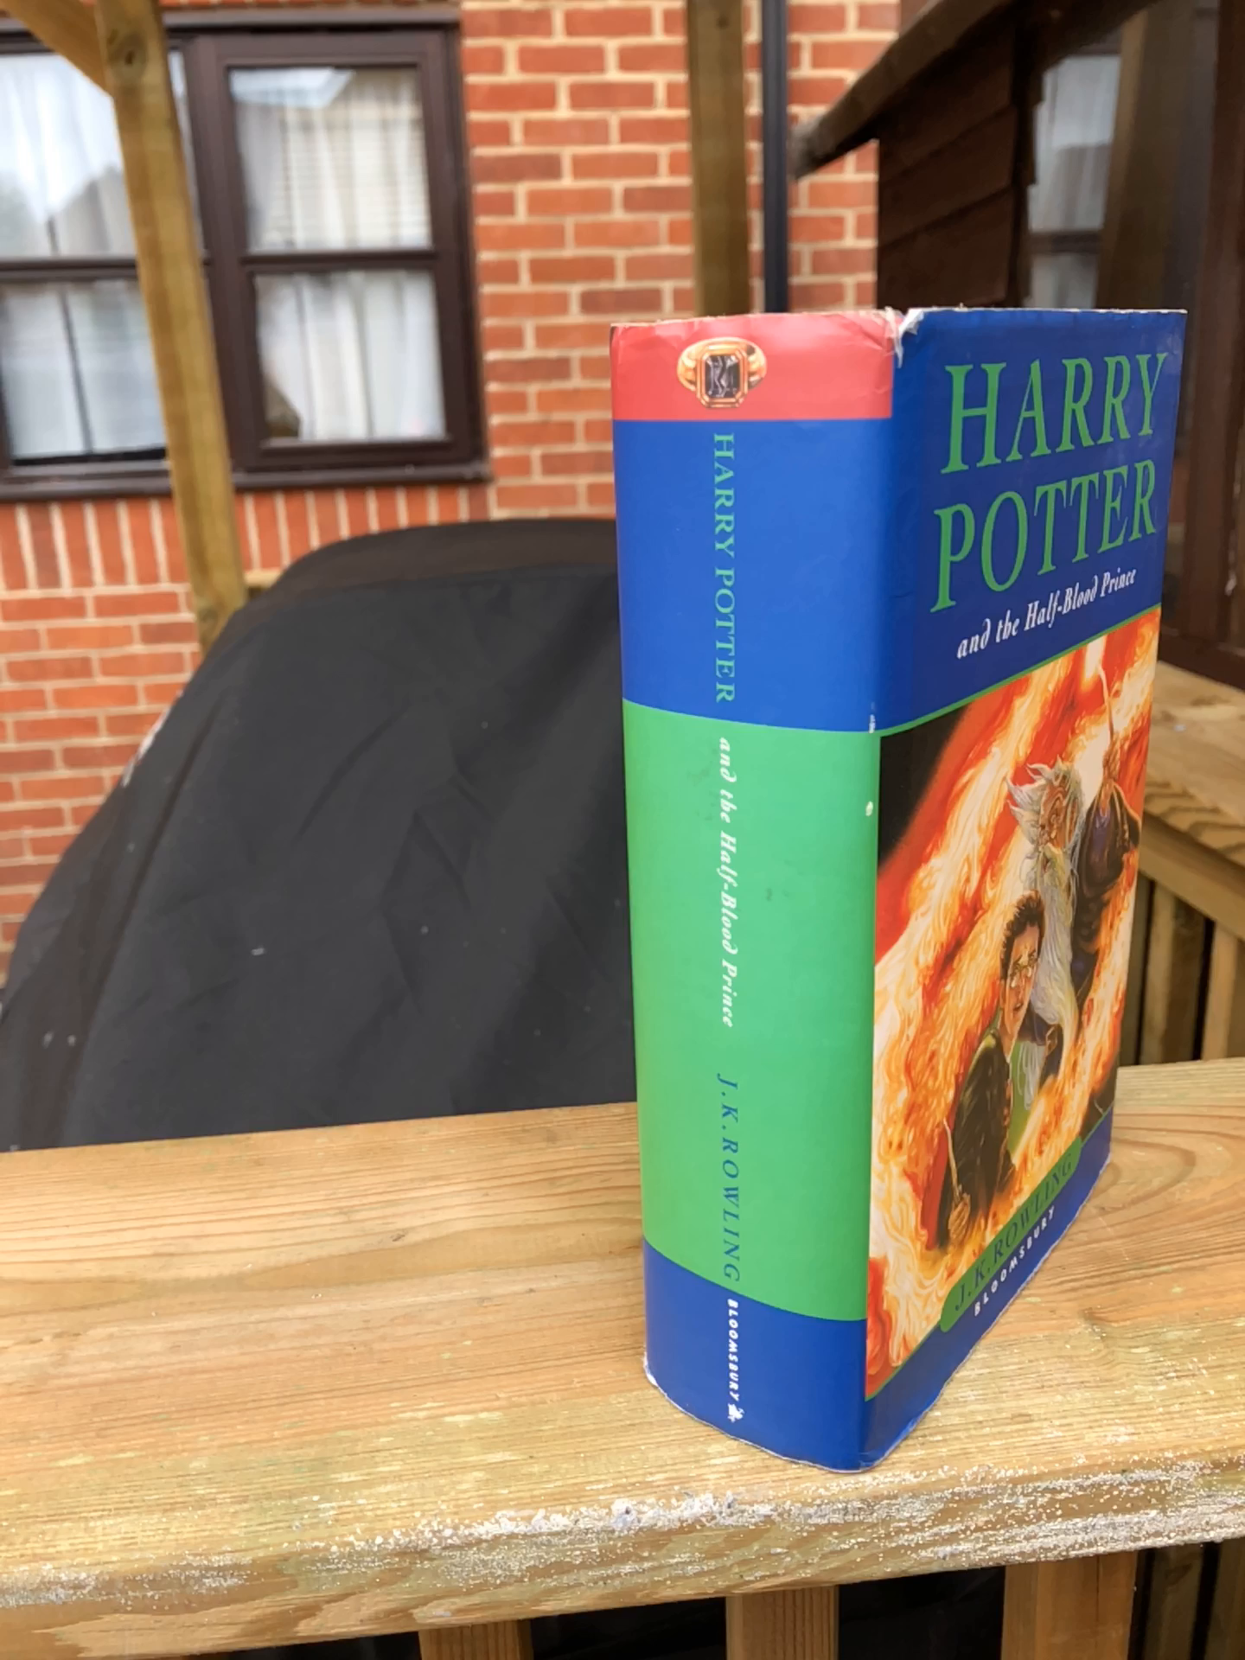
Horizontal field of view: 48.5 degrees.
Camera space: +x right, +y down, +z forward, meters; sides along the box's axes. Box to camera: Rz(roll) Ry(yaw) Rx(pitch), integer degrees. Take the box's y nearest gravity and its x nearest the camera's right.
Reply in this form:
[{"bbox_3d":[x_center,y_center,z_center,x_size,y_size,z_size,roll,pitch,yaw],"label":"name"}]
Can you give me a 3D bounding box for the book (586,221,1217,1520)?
[{"bbox_3d":[0.062,-0.002,0.284,0.060,0.209,0.141,10,20,35],"label":"book"}]
